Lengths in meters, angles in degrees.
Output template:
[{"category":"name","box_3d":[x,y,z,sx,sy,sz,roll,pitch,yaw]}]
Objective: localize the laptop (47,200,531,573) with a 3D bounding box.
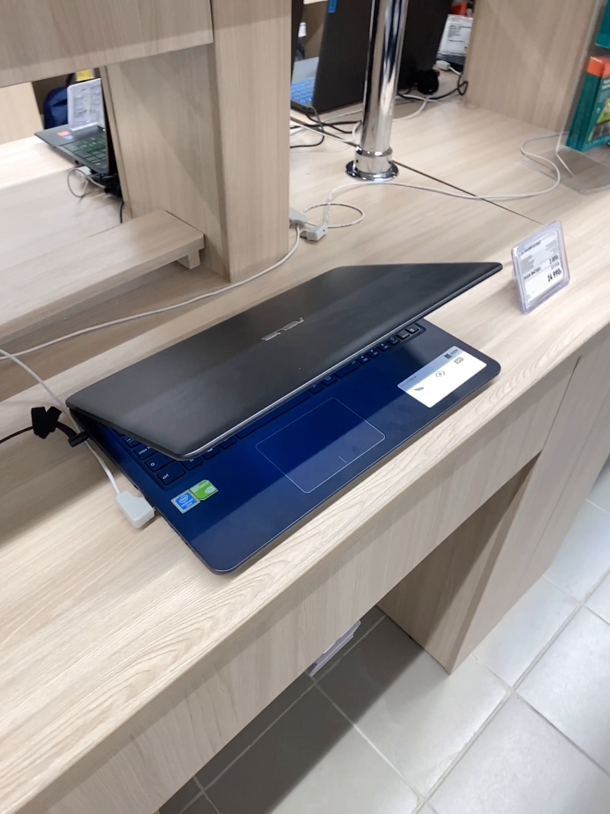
[{"category":"laptop","box_3d":[-0.001,-0.058,0.603,0.386,0.098,0.236,-31,53,-31]}]
